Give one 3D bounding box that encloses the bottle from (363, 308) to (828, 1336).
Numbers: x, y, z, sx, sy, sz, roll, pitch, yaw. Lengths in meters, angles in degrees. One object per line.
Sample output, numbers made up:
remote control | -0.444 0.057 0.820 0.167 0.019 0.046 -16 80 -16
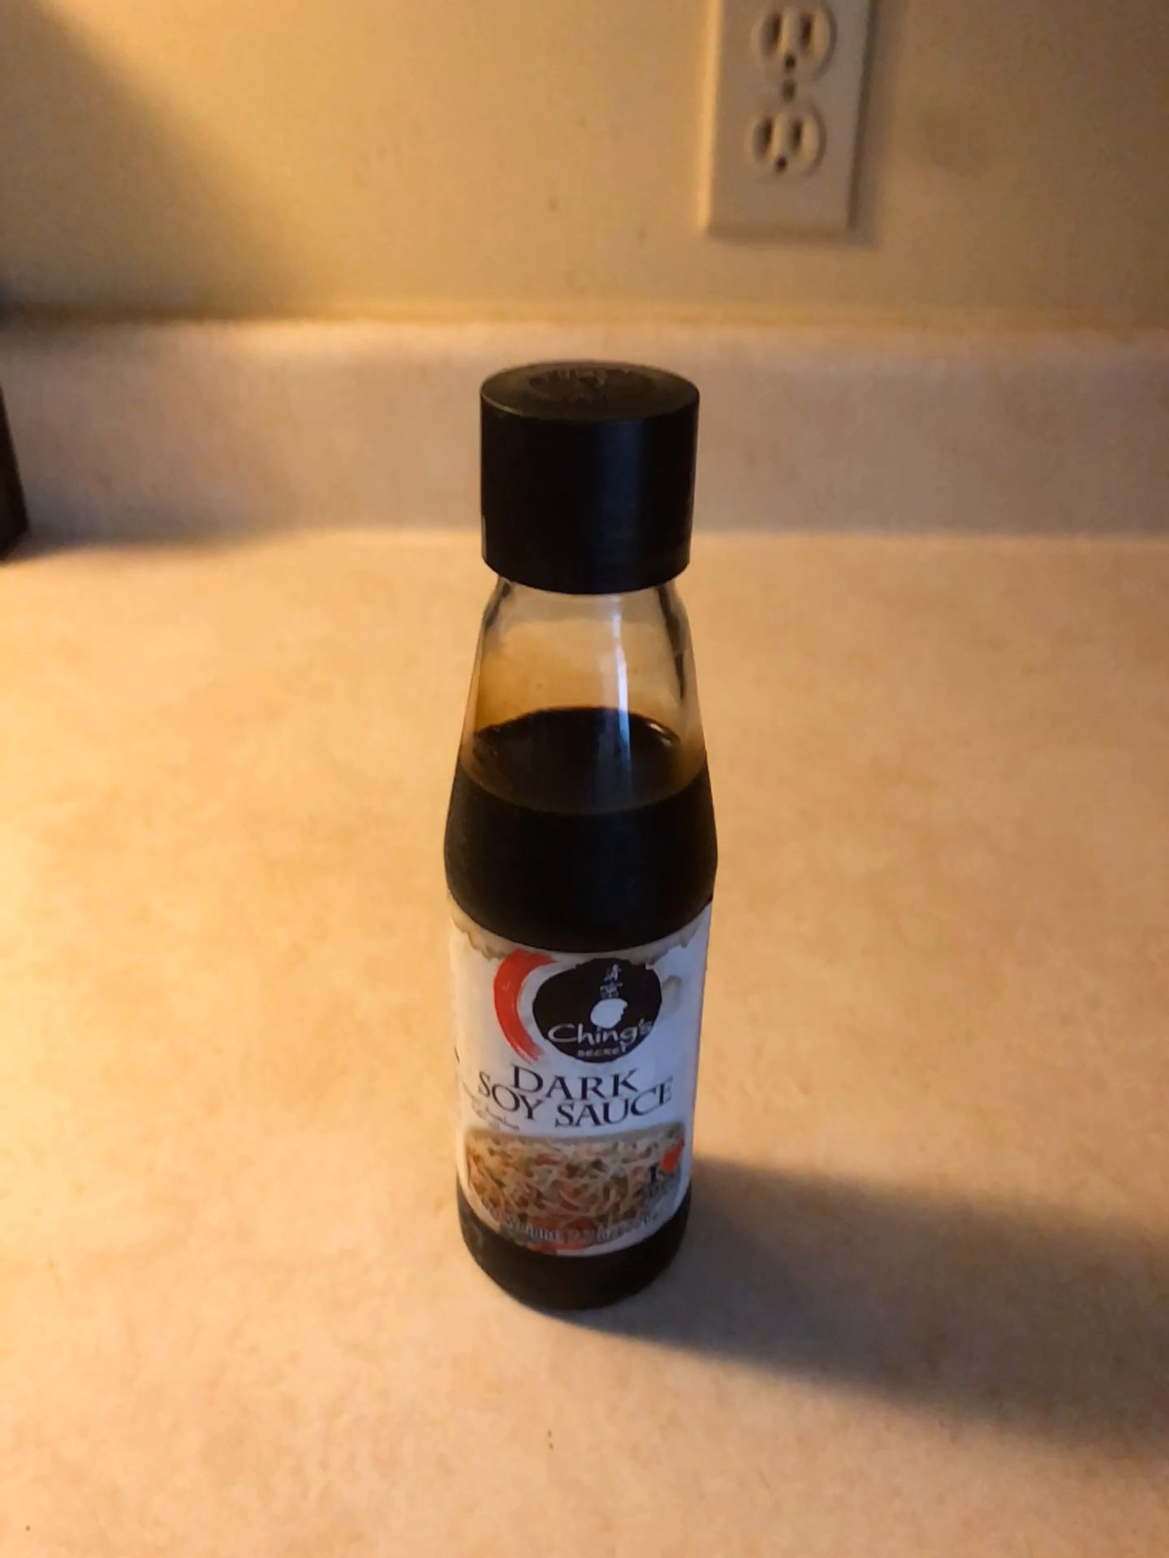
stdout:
bottle | -0.003 0.014 0.239 0.060 0.180 0.060 0 31 0
